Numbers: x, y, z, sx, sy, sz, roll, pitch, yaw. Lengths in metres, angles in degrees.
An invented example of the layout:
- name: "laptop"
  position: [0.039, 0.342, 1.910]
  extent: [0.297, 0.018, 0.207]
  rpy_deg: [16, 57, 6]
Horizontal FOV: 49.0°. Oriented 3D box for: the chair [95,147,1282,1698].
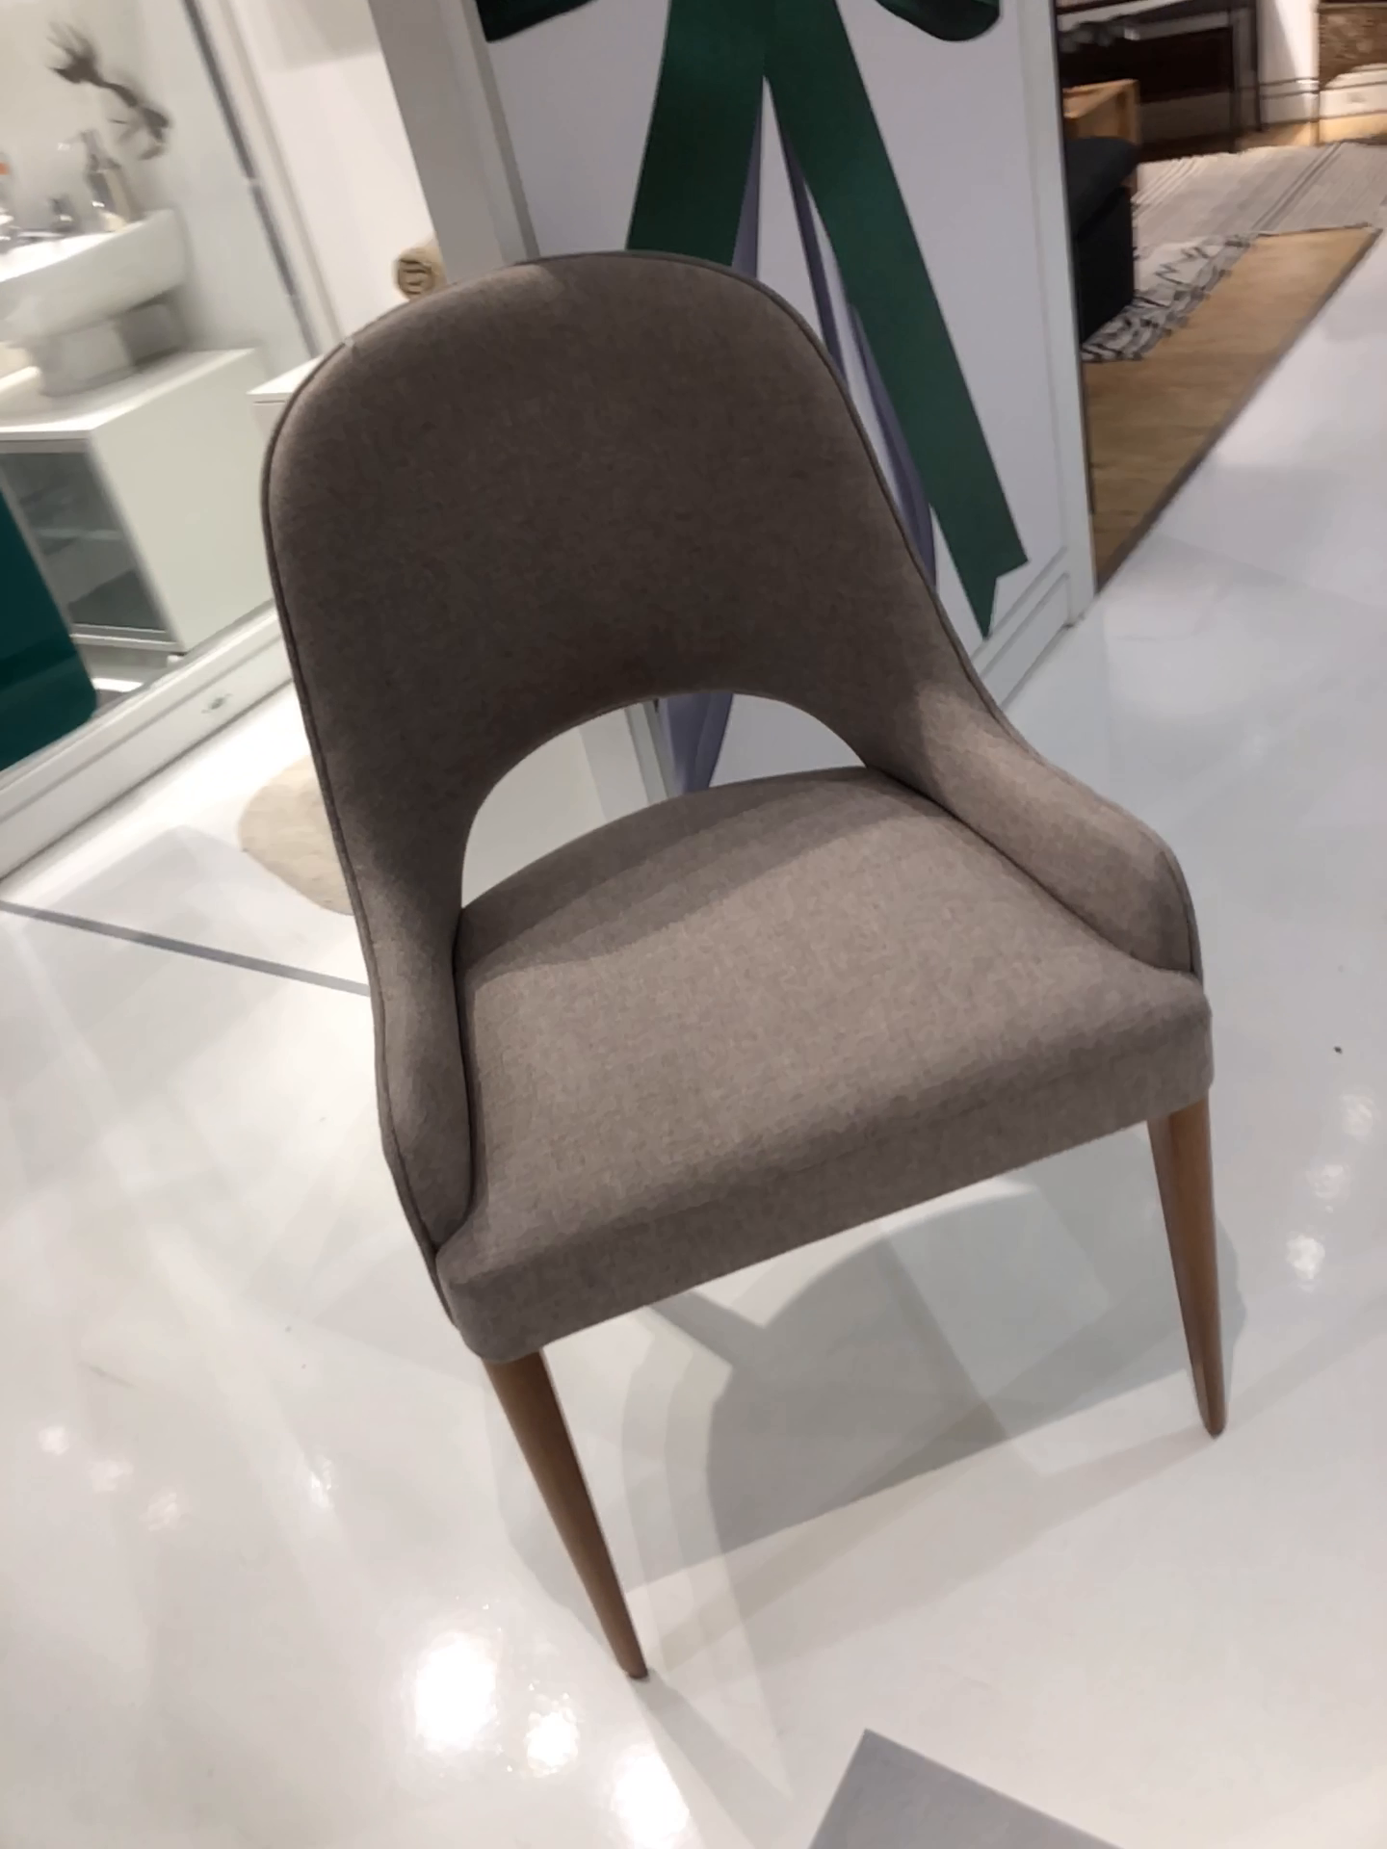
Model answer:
- name: "chair"
  position: [0.022, -0.025, 1.189]
  extent: [0.570, 0.893, 0.615]
  rpy_deg: [-19, 33, -6]
